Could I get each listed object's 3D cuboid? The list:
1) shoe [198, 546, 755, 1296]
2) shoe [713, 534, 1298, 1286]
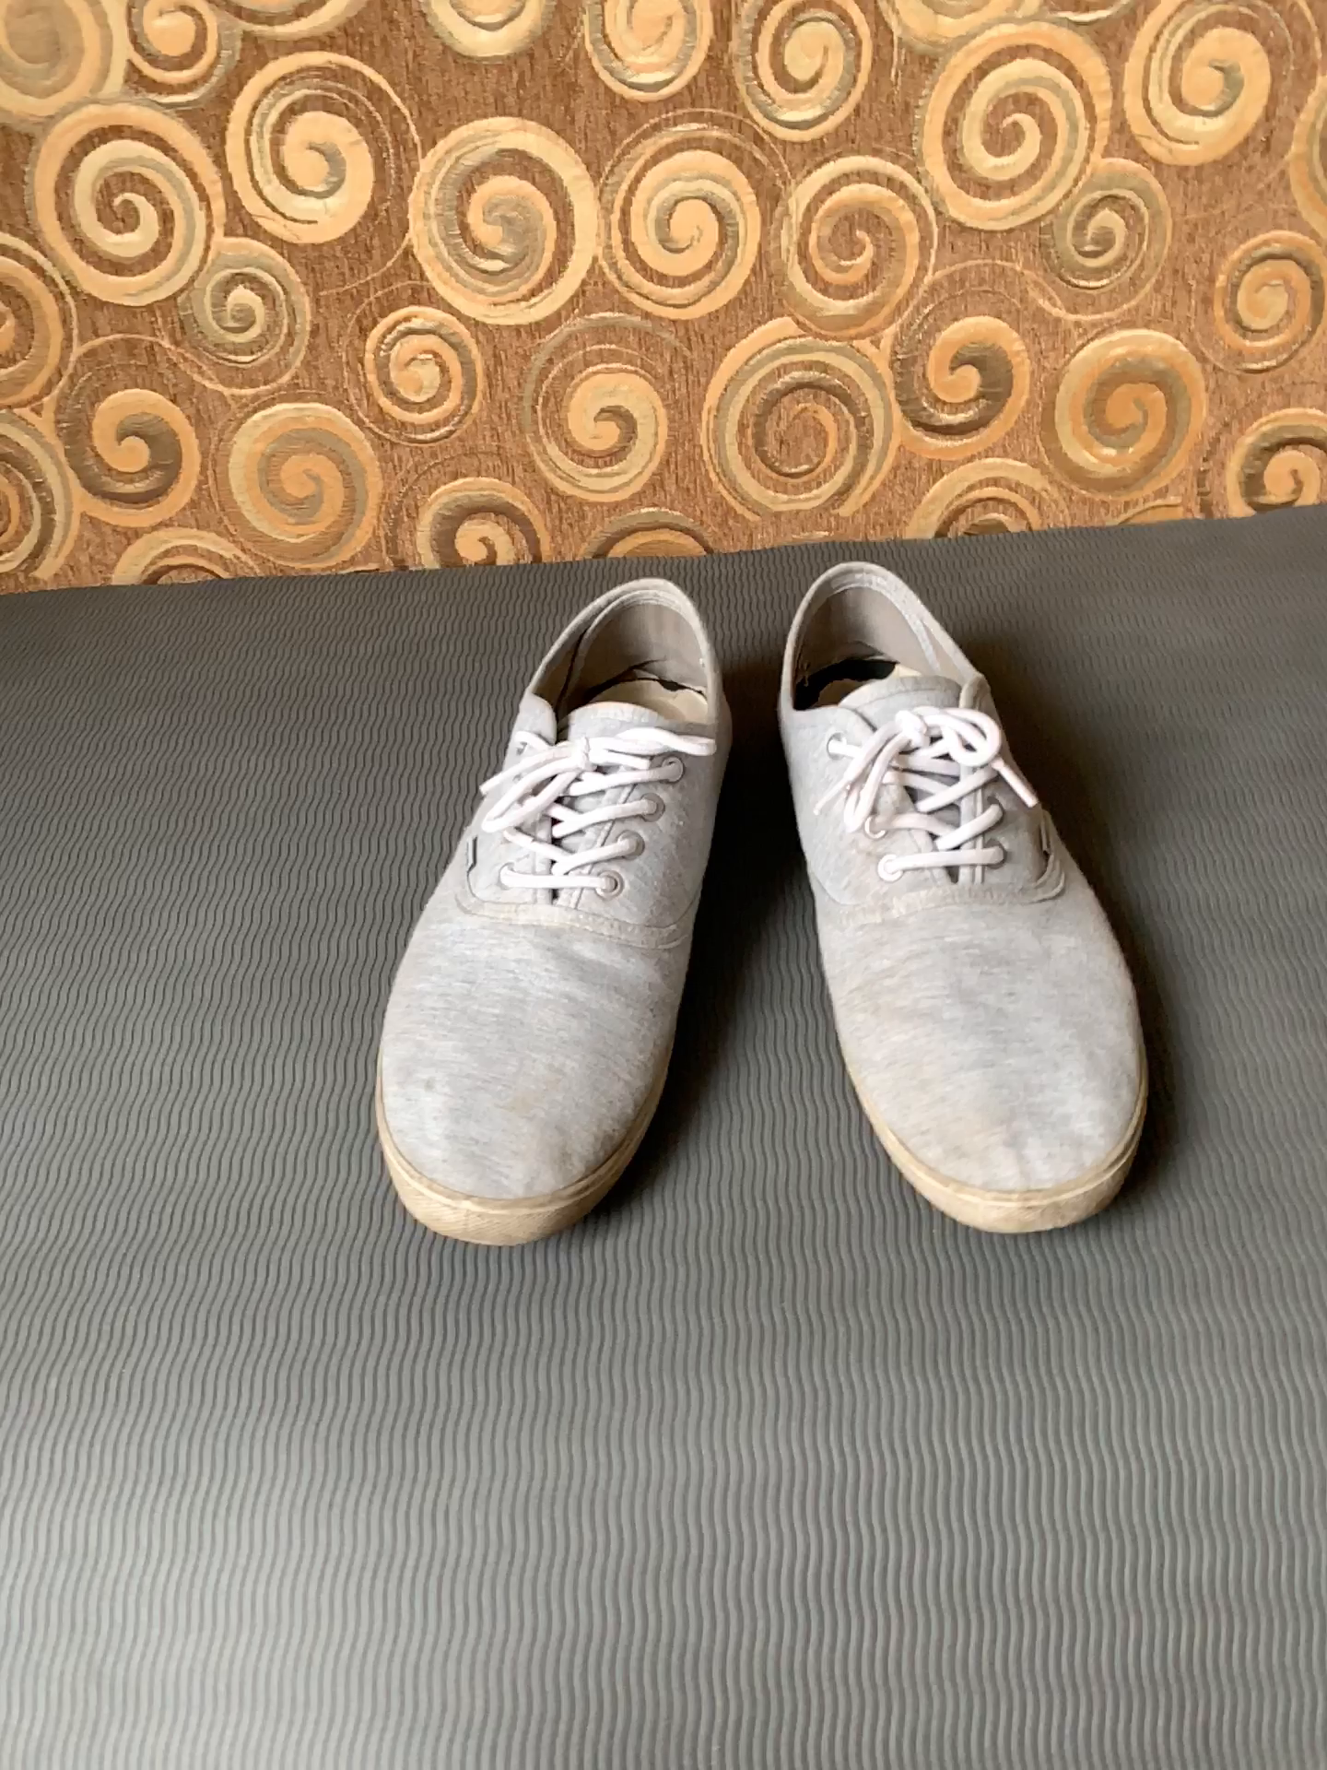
[{"bbox_3d":[-0.043,-0.006,0.471,0.110,0.080,0.261,7,48,10],"label":"shoe"},{"bbox_3d":[0.095,-0.009,0.469,0.110,0.080,0.261,-8,47,-4],"label":"shoe"}]
